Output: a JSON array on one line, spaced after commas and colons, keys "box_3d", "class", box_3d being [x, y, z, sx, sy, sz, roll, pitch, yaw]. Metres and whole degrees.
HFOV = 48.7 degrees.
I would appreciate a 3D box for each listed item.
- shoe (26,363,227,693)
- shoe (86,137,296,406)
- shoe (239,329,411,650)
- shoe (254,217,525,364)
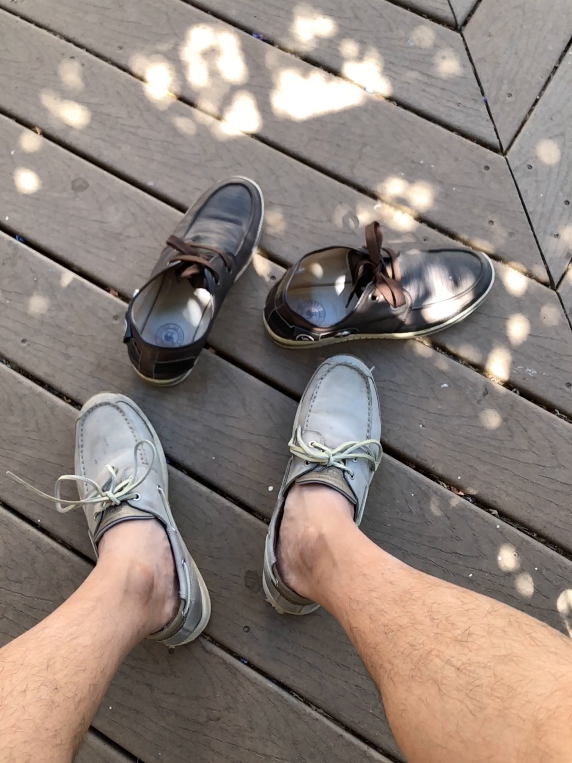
[{"box_3d": [-0.164, 0.143, 0.656, 0.109, 0.086, 0.292, -19, 77, -4], "class": "shoe"}, {"box_3d": [-0.100, -0.125, 0.722, 0.109, 0.069, 0.279, 26, 80, 6], "class": "shoe"}, {"box_3d": [0.042, 0.107, 0.667, 0.109, 0.101, 0.293, 12, 77, 3], "class": "shoe"}, {"box_3d": [0.110, -0.101, 0.720, 0.277, 0.079, 0.109, -8, 76, -1], "class": "shoe"}]
